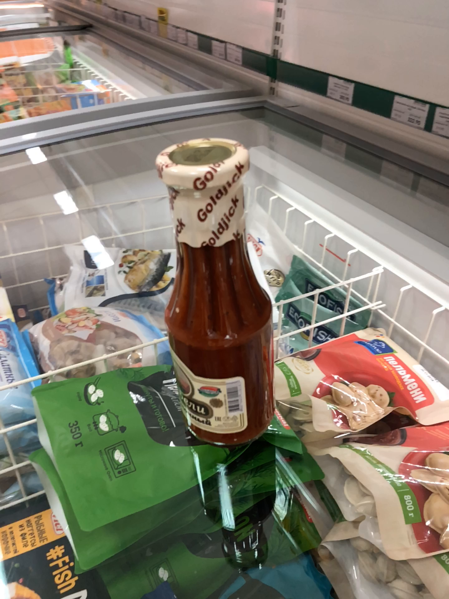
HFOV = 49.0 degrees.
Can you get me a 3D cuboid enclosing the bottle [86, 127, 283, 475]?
[{"bbox_3d":[-0.017,0.006,0.286,0.070,0.179,0.070,-2,36,2],"label":"bottle"}]
